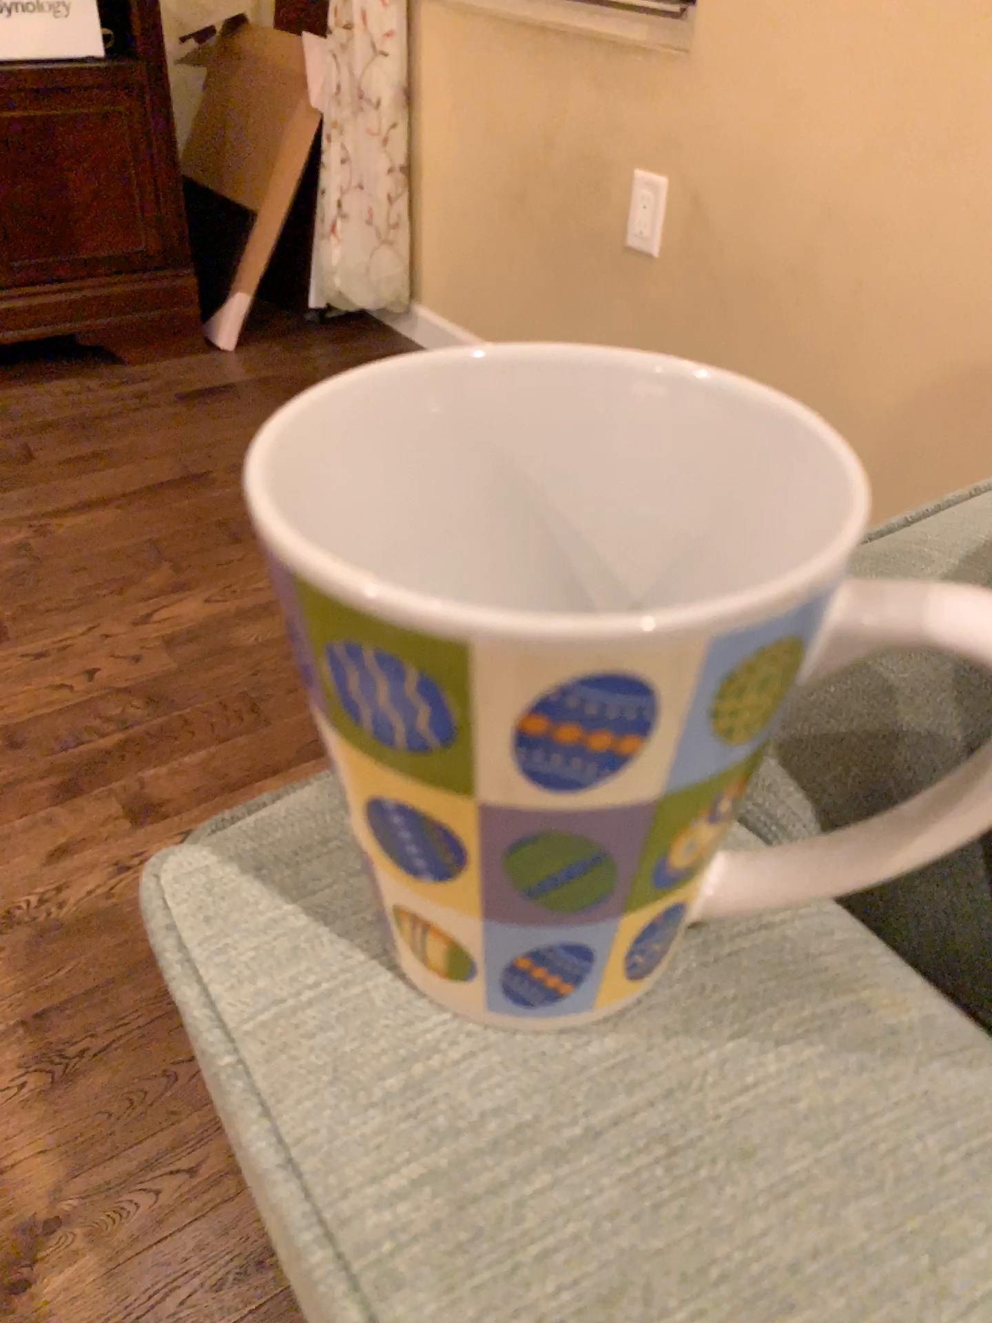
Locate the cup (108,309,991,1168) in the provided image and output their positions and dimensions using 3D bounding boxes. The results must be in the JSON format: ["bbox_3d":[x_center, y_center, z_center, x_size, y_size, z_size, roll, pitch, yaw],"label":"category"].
[{"bbox_3d":[0.024,0.005,0.171,0.122,0.087,0.096,7,37,7],"label":"cup"}]
